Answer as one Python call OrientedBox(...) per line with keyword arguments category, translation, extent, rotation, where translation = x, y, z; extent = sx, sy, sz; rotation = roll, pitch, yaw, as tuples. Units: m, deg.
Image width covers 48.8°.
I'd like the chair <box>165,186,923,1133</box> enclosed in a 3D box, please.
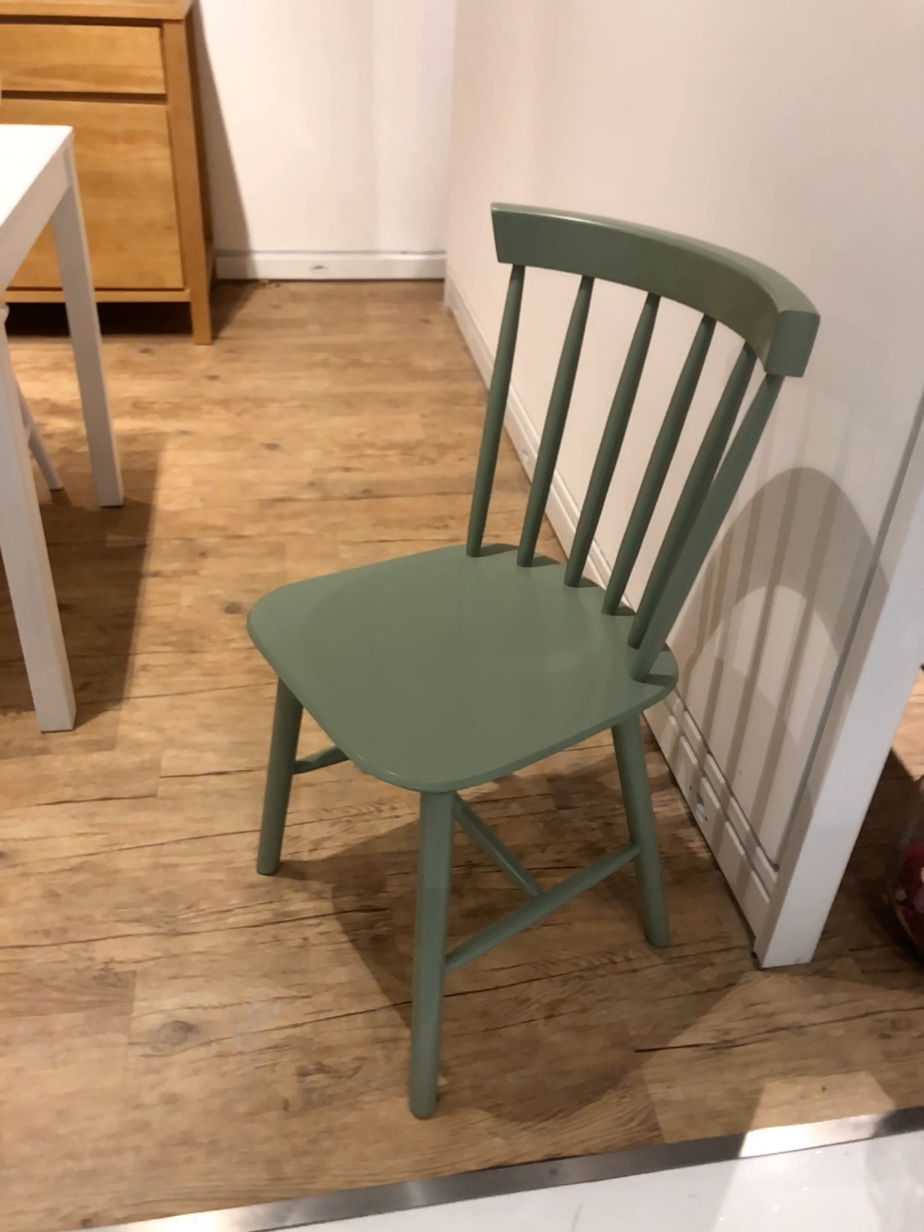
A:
OrientedBox(category="chair", translation=(0.049, 0.021, 1.138), extent=(0.521, 0.813, 0.473), rotation=(-18, 39, -28))
